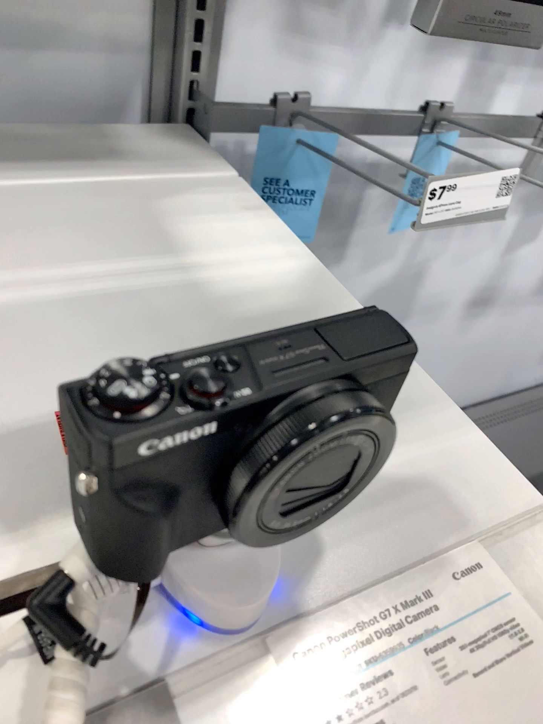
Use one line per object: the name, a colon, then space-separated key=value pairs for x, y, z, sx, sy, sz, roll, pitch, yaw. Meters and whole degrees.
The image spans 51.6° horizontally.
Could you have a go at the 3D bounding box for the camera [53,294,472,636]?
camera: x=-0.002 y=0.025 z=0.170 sx=0.110 sy=0.062 sz=0.040 roll=-15 pitch=47 yaw=-31
